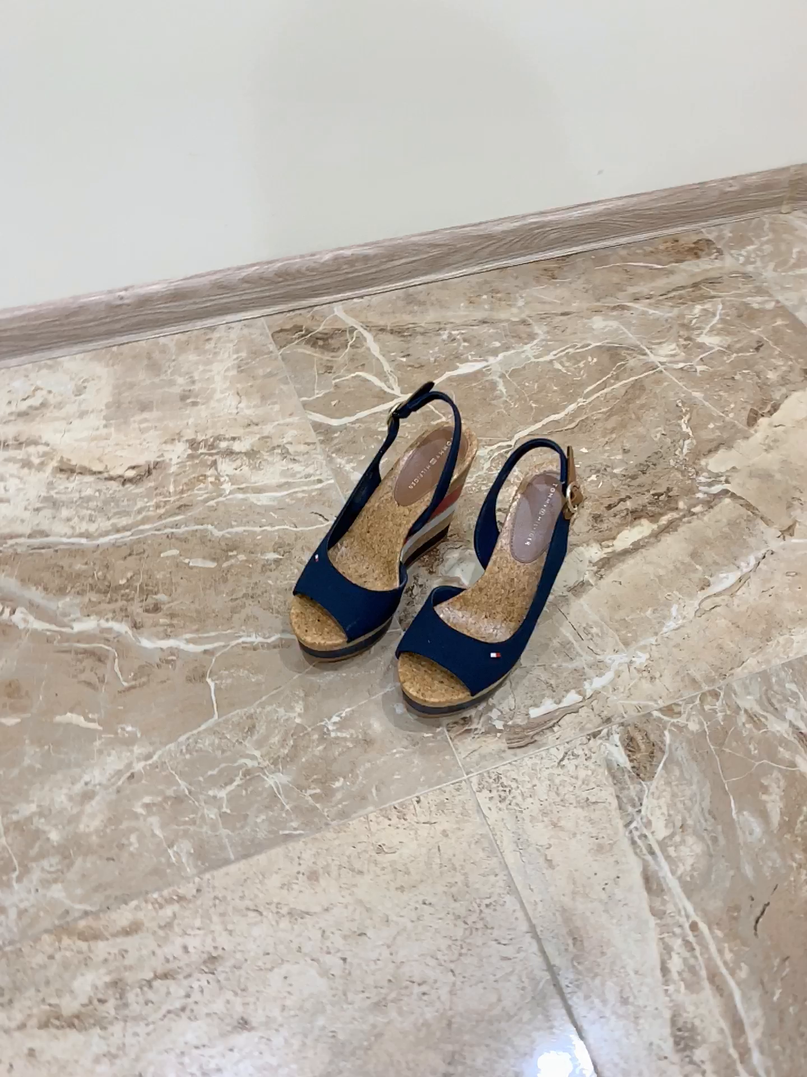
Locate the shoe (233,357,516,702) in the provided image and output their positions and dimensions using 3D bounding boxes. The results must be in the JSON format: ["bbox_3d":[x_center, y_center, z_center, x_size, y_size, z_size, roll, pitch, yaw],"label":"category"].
[{"bbox_3d":[-0.016,-0.010,0.631,0.090,0.145,0.211,30,56,20],"label":"shoe"}]

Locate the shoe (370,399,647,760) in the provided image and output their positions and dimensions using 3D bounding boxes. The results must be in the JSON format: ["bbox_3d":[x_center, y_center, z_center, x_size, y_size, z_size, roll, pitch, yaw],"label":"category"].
[{"bbox_3d":[0.074,0.027,0.608,0.090,0.145,0.211,30,56,20],"label":"shoe"}]
